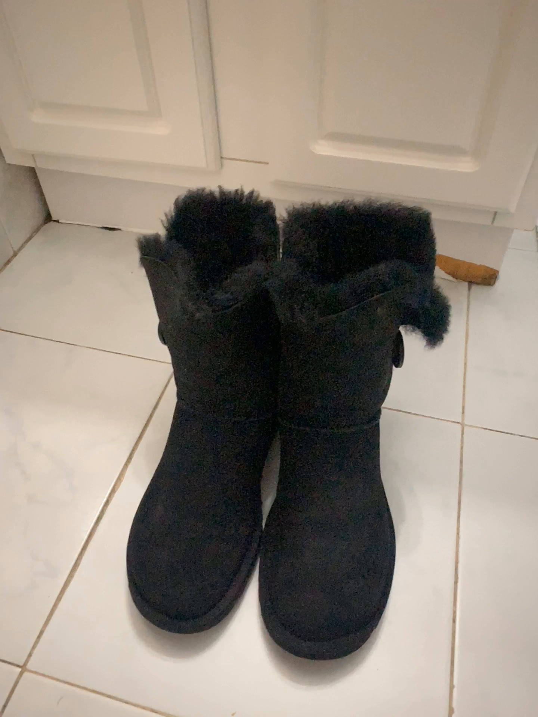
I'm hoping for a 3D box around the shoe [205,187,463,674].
[{"bbox_3d":[0.048,0.041,0.397,0.110,0.189,0.281,6,49,6],"label":"shoe"}]

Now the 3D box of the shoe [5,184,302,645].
[{"bbox_3d":[-0.047,0.027,0.411,0.120,0.169,0.291,4,49,5],"label":"shoe"}]
